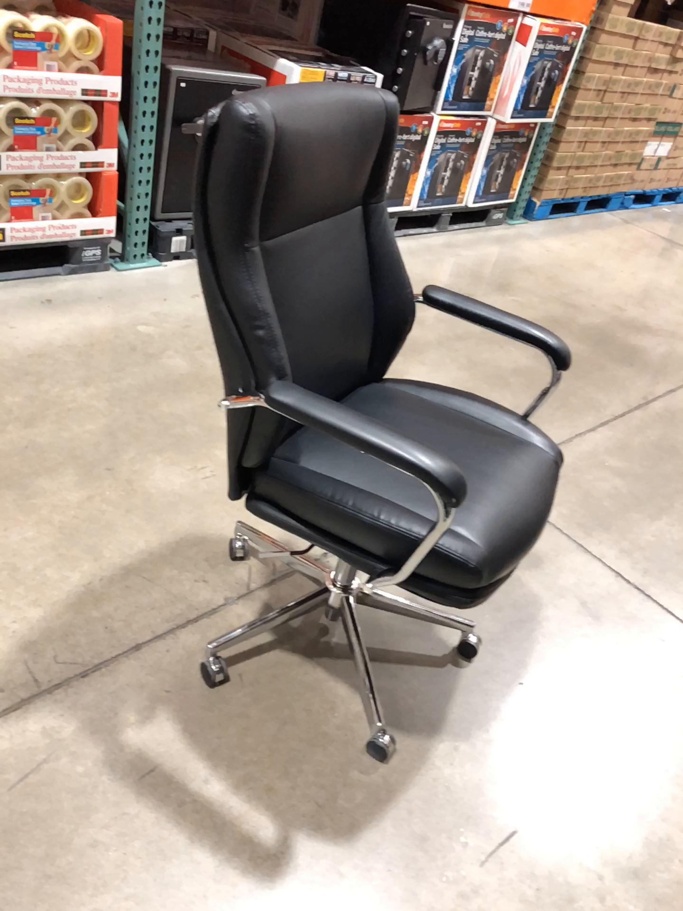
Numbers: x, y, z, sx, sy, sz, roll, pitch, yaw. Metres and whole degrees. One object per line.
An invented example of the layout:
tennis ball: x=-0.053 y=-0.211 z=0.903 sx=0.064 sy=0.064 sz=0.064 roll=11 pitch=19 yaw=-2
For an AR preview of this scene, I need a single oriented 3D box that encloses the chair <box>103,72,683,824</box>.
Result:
chair: x=0.089 y=-0.062 z=1.431 sx=0.701 sy=1.046 sz=0.712 roll=28 pitch=36 yaw=19
